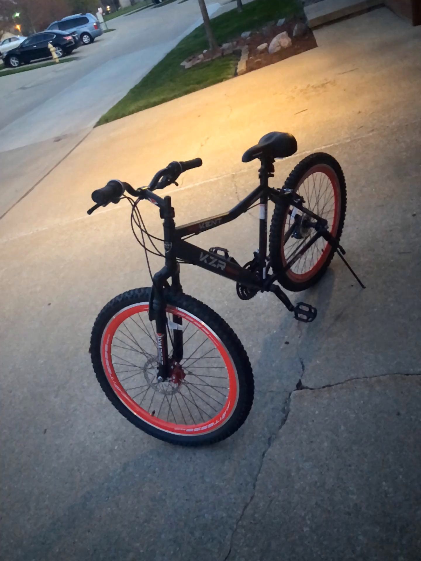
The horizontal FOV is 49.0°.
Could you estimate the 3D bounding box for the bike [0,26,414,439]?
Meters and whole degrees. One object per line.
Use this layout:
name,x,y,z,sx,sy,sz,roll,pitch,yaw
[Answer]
bike,0.069,-0.231,1.916,1.424,1.031,0.601,-35,34,-25
